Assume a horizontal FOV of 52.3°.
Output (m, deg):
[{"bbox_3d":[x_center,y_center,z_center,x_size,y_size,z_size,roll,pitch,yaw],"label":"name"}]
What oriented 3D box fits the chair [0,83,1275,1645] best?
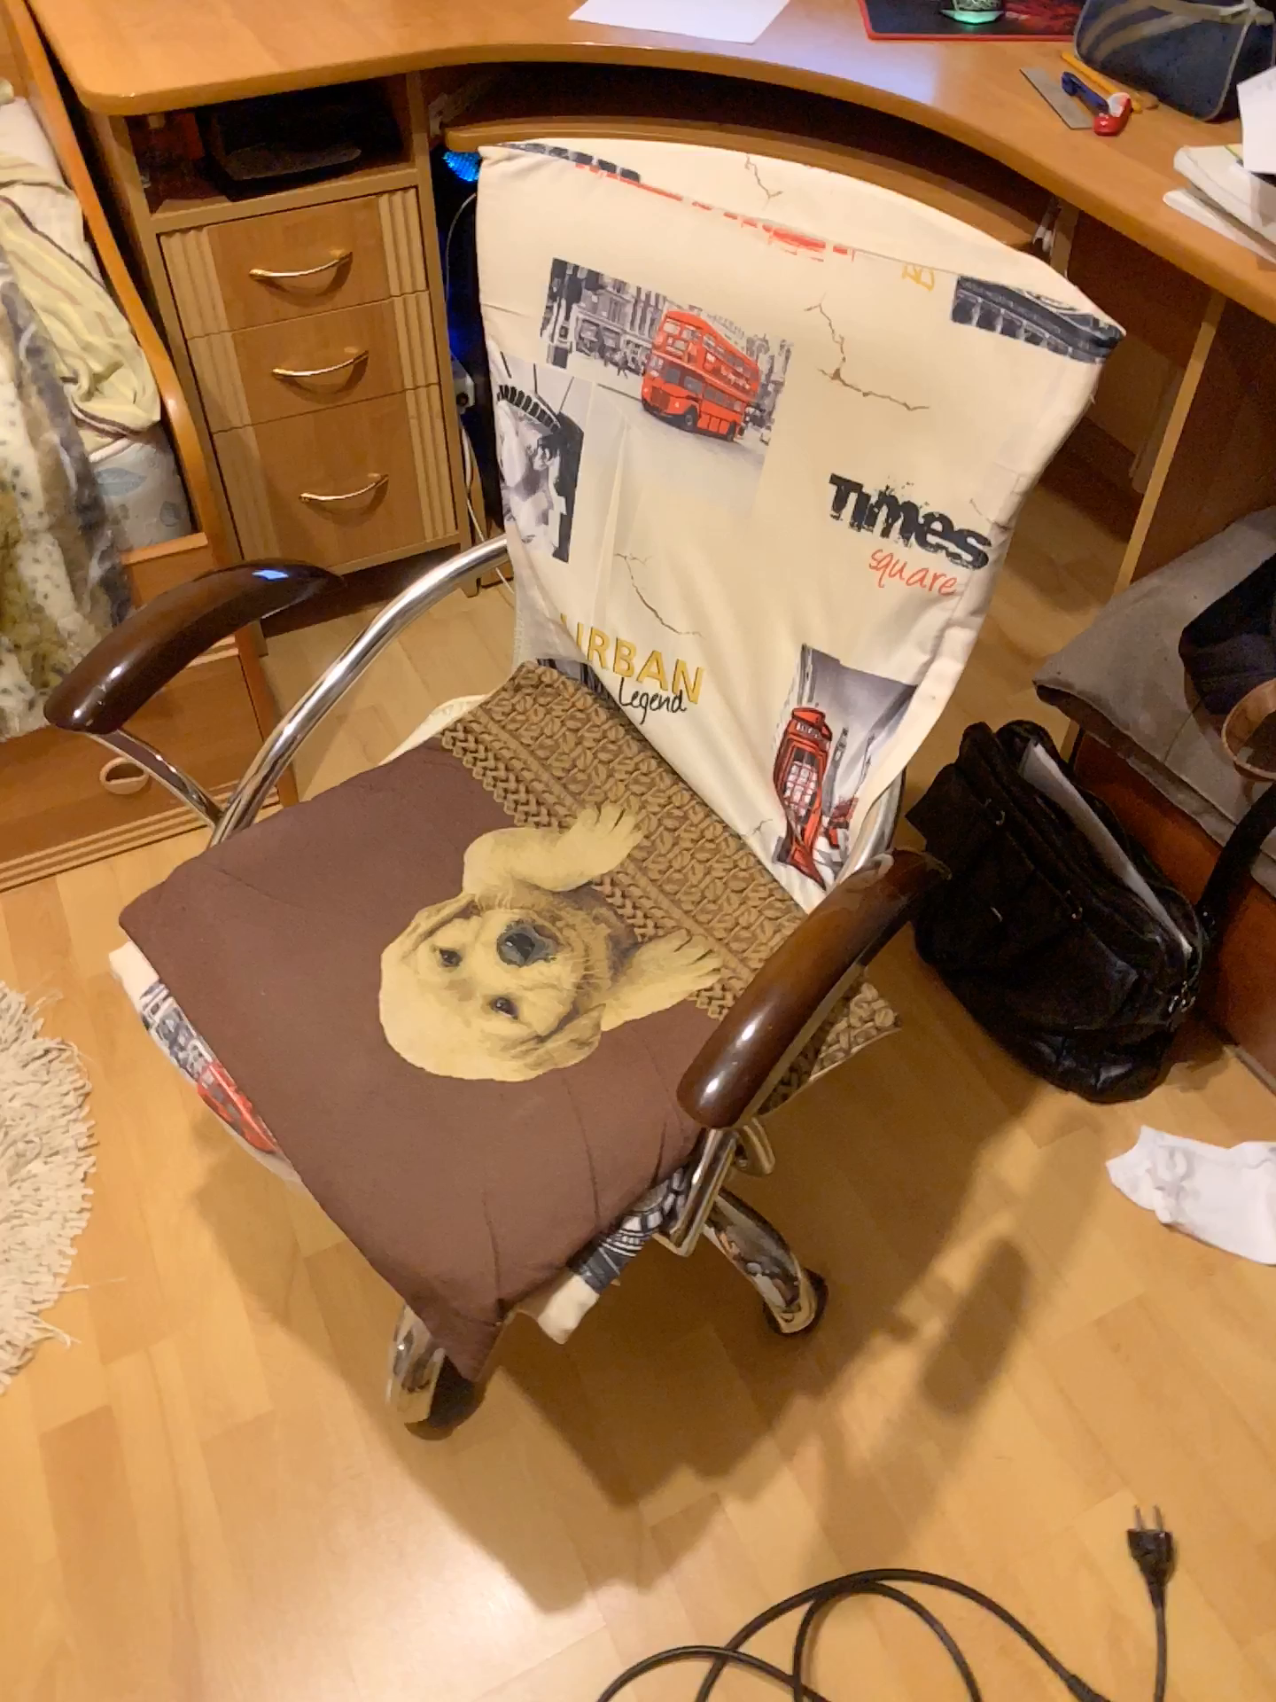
[{"bbox_3d":[-0.030,0.013,0.828,0.476,0.665,0.566,29,54,22],"label":"chair"}]
